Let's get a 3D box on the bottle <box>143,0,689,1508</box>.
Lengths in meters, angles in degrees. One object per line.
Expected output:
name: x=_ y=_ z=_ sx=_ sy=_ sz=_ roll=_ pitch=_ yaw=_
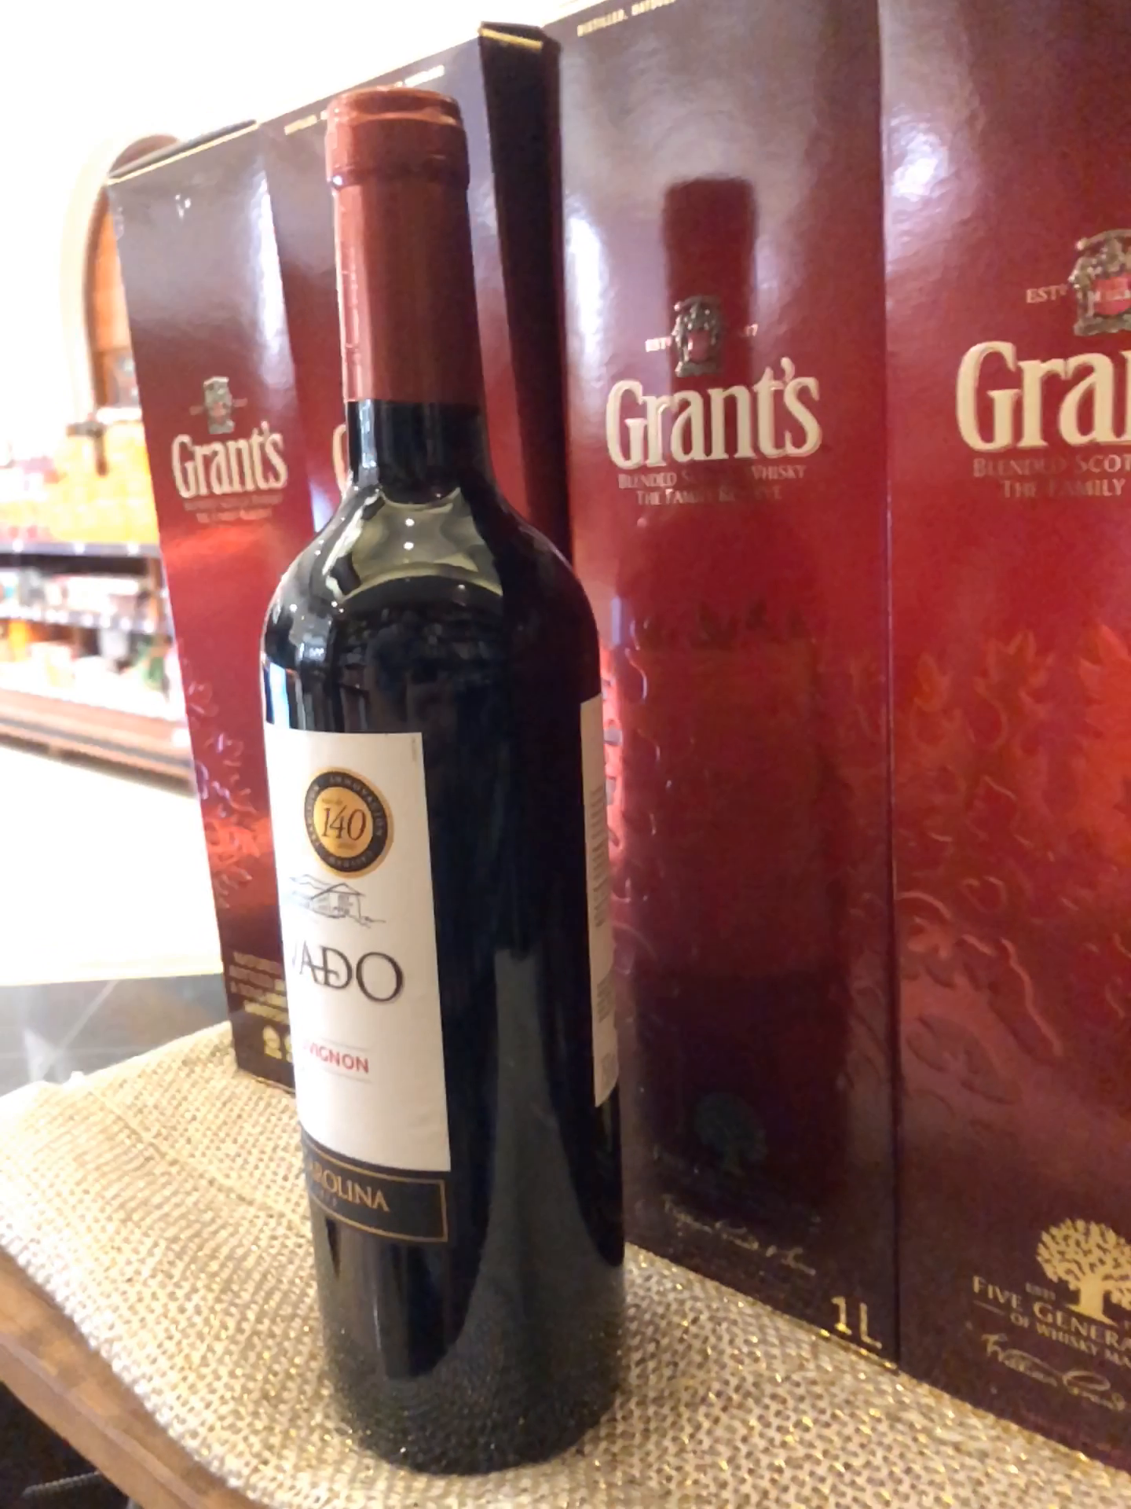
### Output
bottle: x=-0.030 y=0.007 z=0.279 sx=0.070 sy=0.289 sz=0.080 roll=-11 pitch=15 yaw=-30
